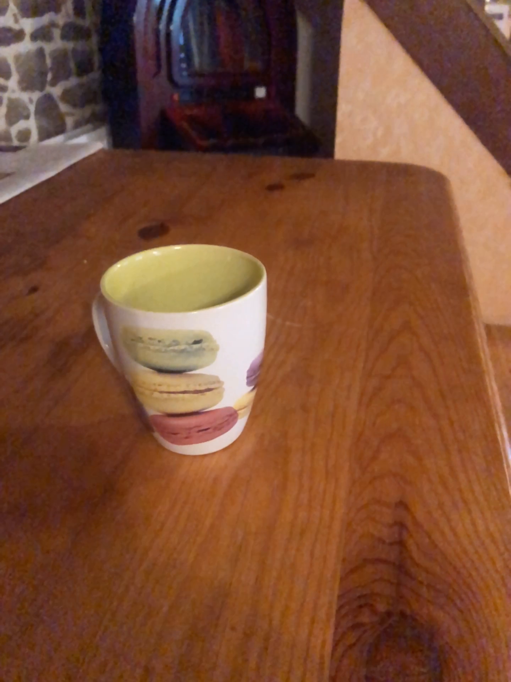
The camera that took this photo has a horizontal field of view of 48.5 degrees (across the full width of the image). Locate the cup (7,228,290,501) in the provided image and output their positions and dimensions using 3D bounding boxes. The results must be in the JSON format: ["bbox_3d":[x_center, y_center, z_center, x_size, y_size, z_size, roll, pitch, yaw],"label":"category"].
[{"bbox_3d":[-0.057,0.005,0.338,0.120,0.099,0.098,17,34,26],"label":"cup"}]
